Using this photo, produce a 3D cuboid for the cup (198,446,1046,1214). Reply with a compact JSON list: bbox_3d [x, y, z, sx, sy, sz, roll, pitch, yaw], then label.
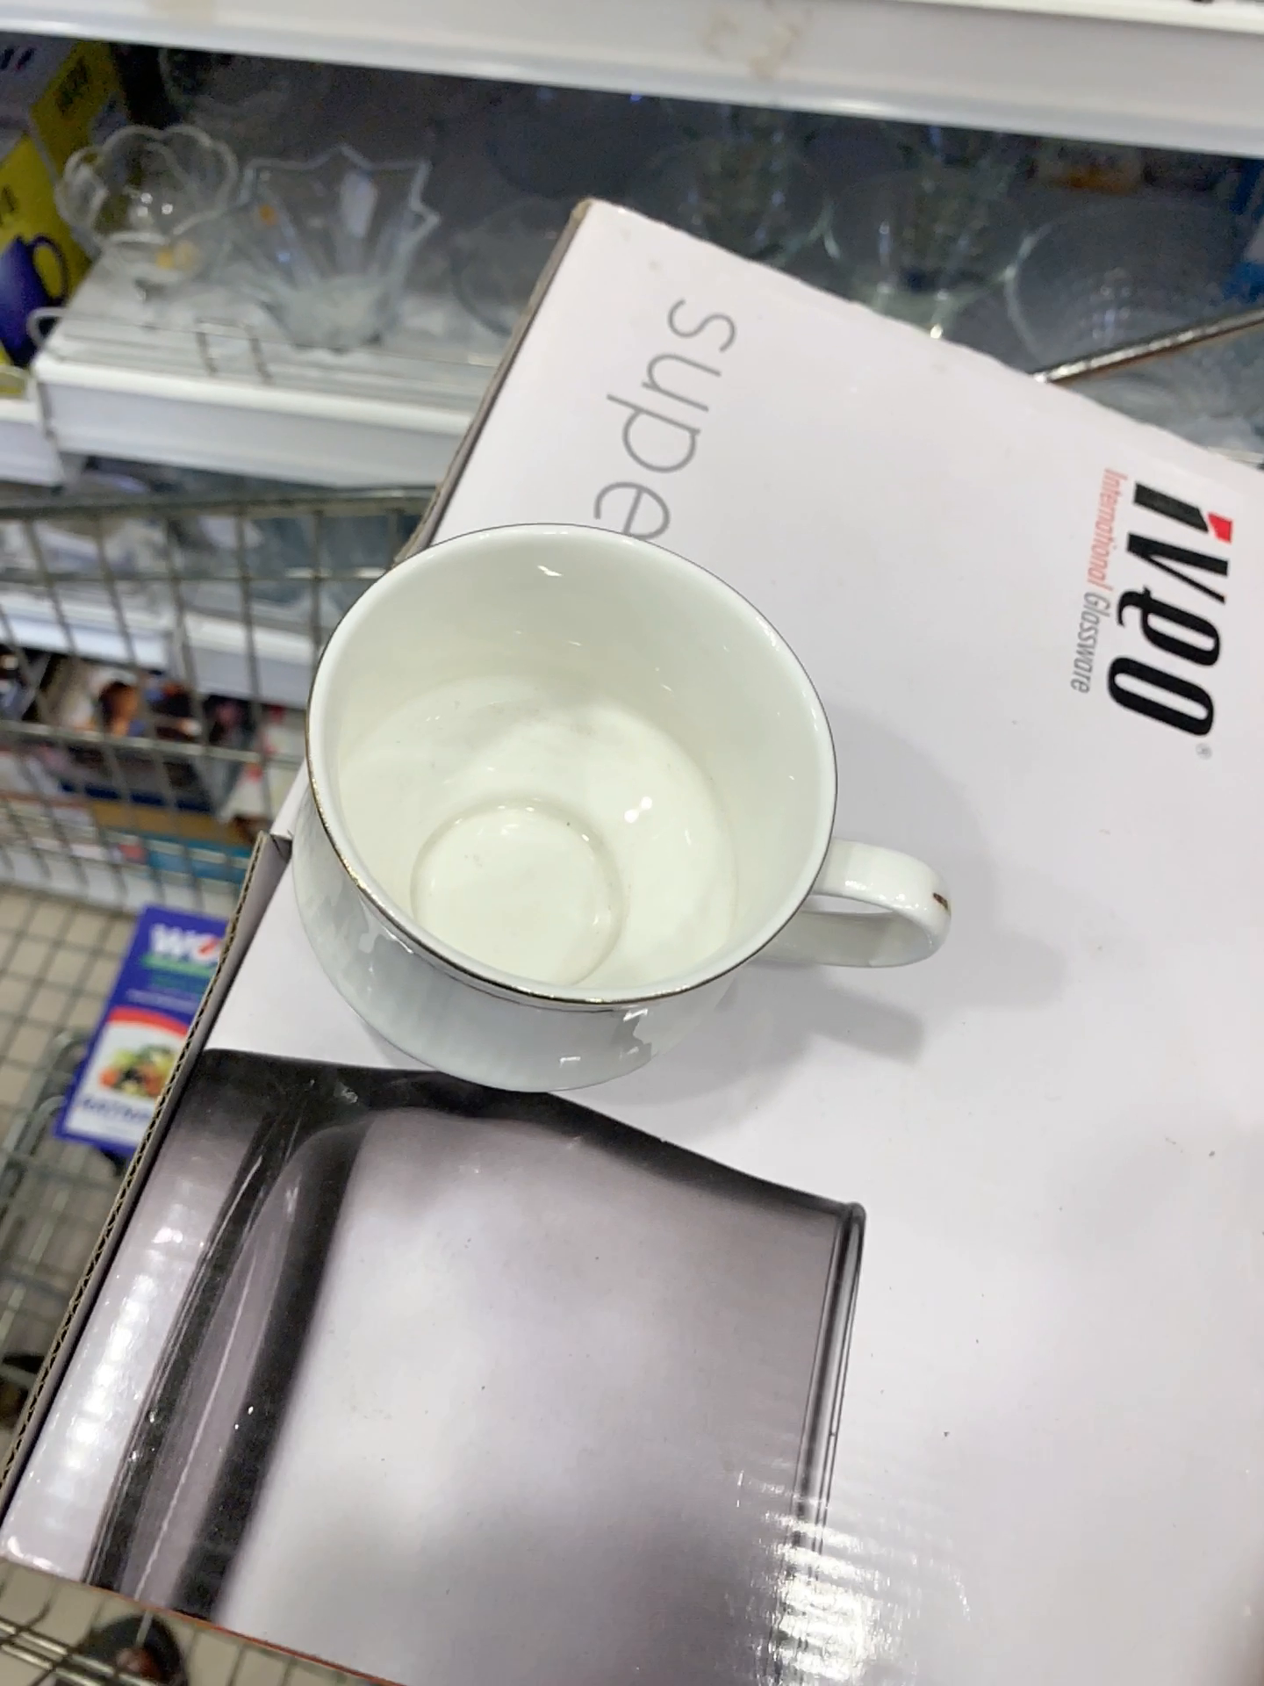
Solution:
[{"bbox_3d":[-0.002,0.003,0.175,0.090,0.050,0.060,20,63,-9],"label":"cup"}]
